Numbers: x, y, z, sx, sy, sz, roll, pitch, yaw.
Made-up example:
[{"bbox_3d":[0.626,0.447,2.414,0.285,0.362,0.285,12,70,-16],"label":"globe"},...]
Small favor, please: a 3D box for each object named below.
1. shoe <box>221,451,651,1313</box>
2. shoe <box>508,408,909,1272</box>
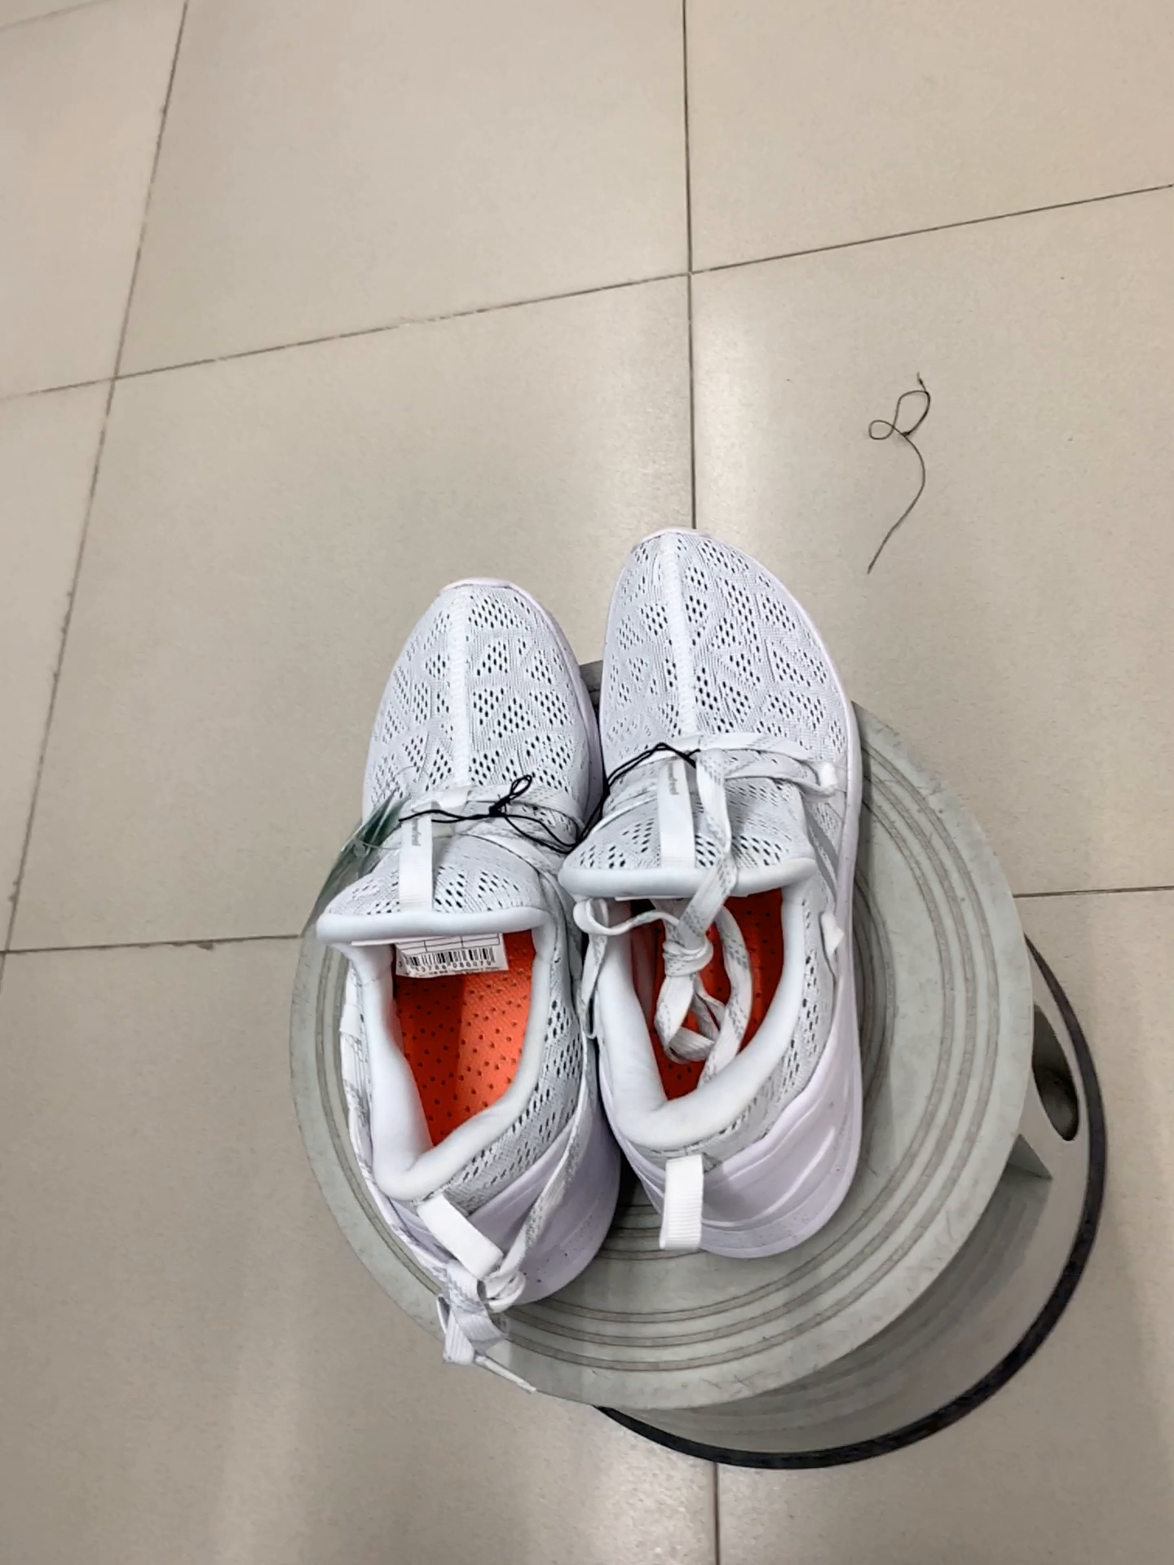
[{"bbox_3d":[-0.047,0.034,0.430,0.110,0.090,0.280,-7,68,13],"label":"shoe"},{"bbox_3d":[0.038,0.018,0.421,0.110,0.080,0.280,-7,68,13],"label":"shoe"}]
